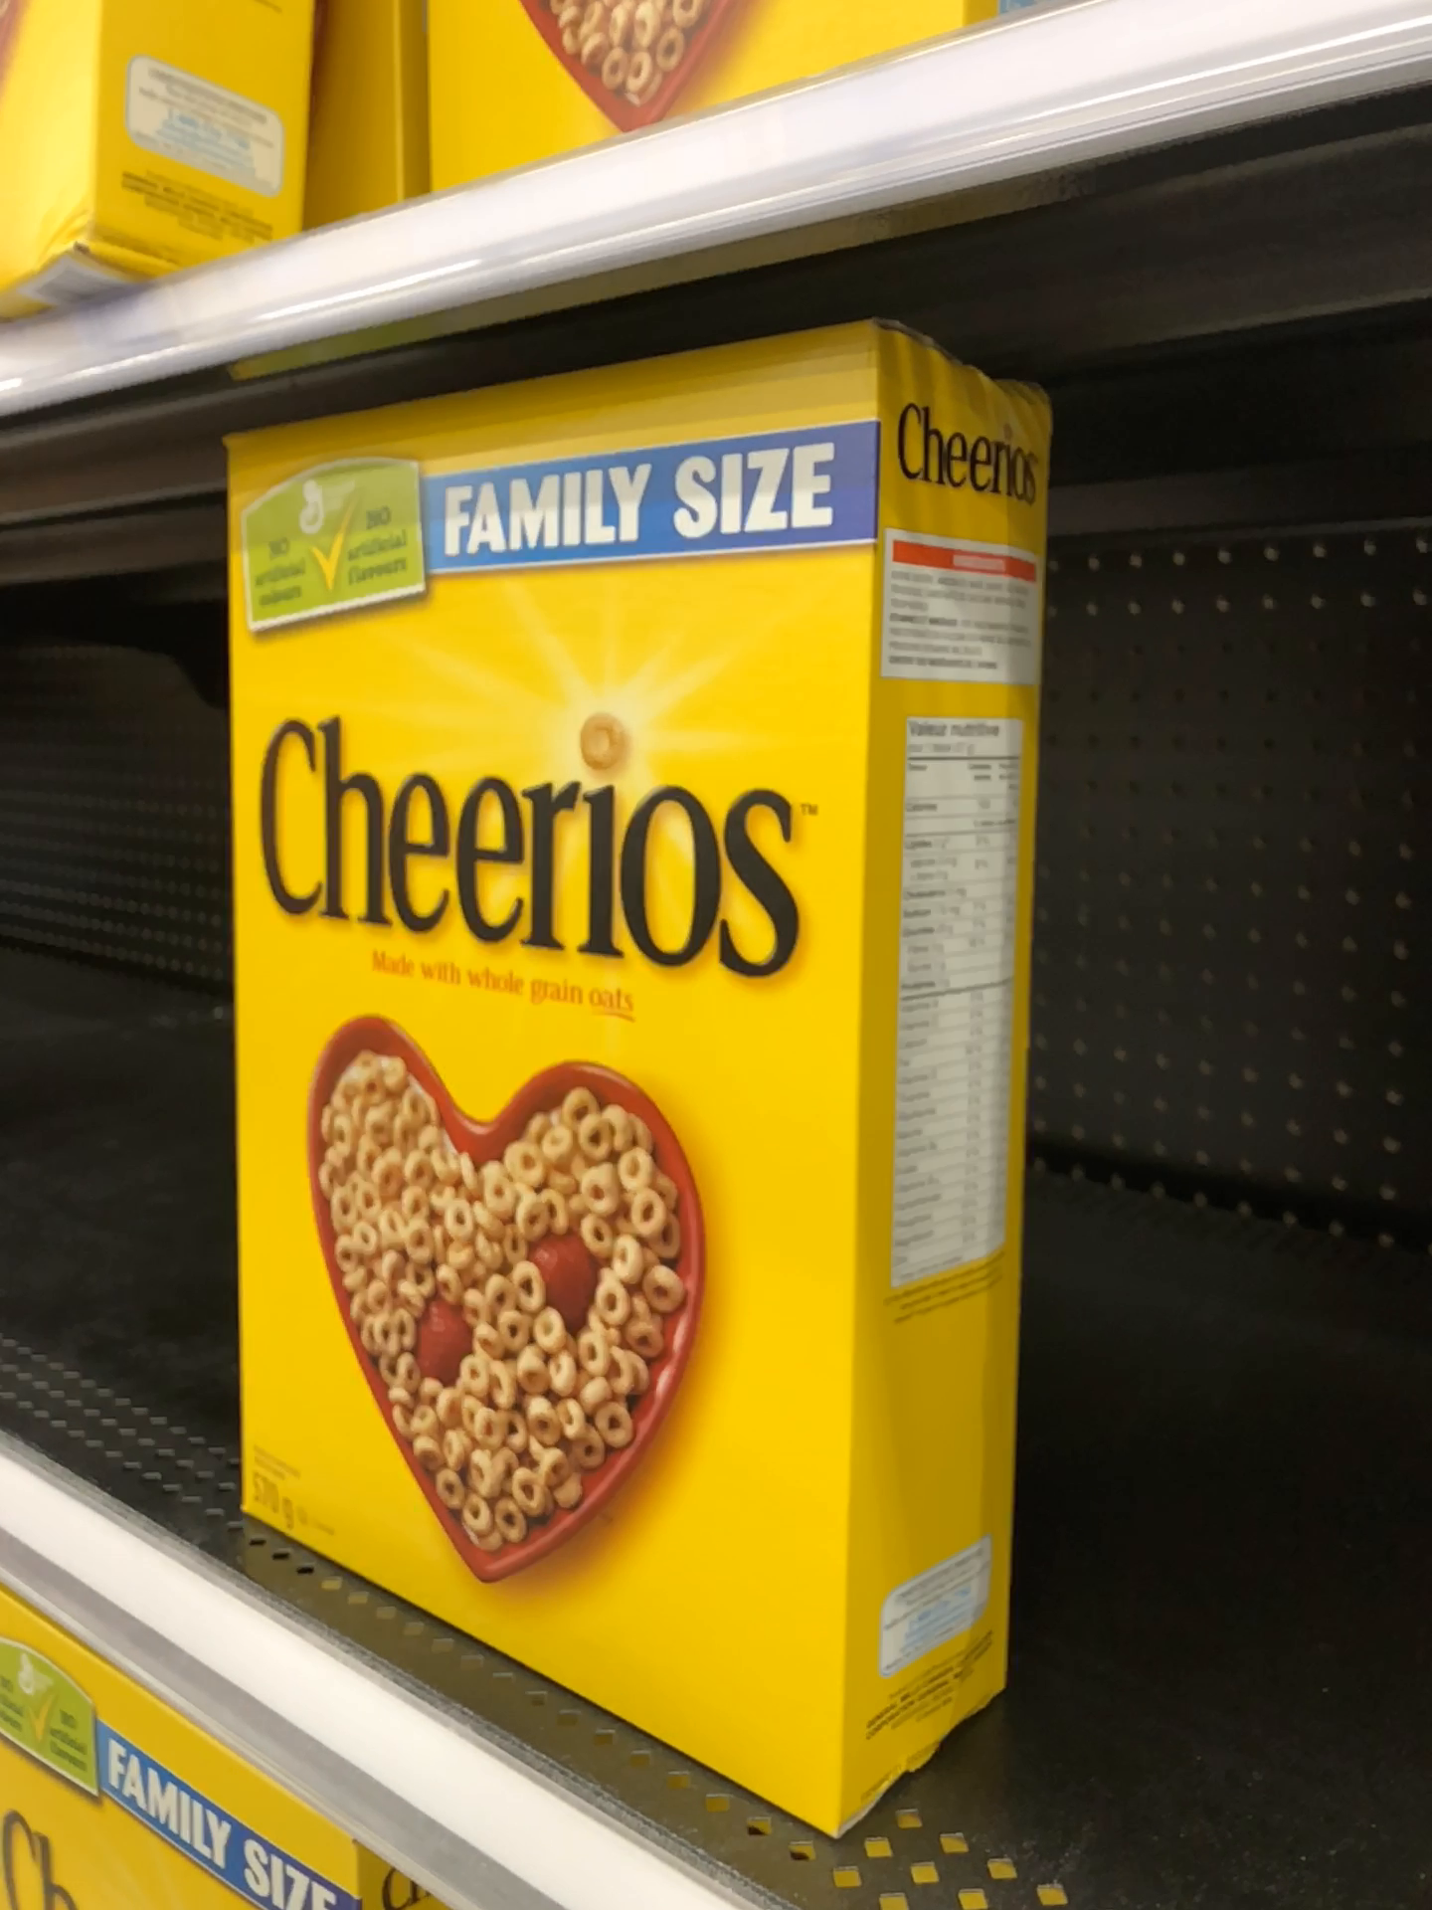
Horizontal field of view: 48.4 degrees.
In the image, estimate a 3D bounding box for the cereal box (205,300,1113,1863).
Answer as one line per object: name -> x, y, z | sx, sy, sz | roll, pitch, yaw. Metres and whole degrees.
cereal box -> -0.029, 0.020, 0.447 | 0.240, 0.339, 0.090 | 8, 11, 38
